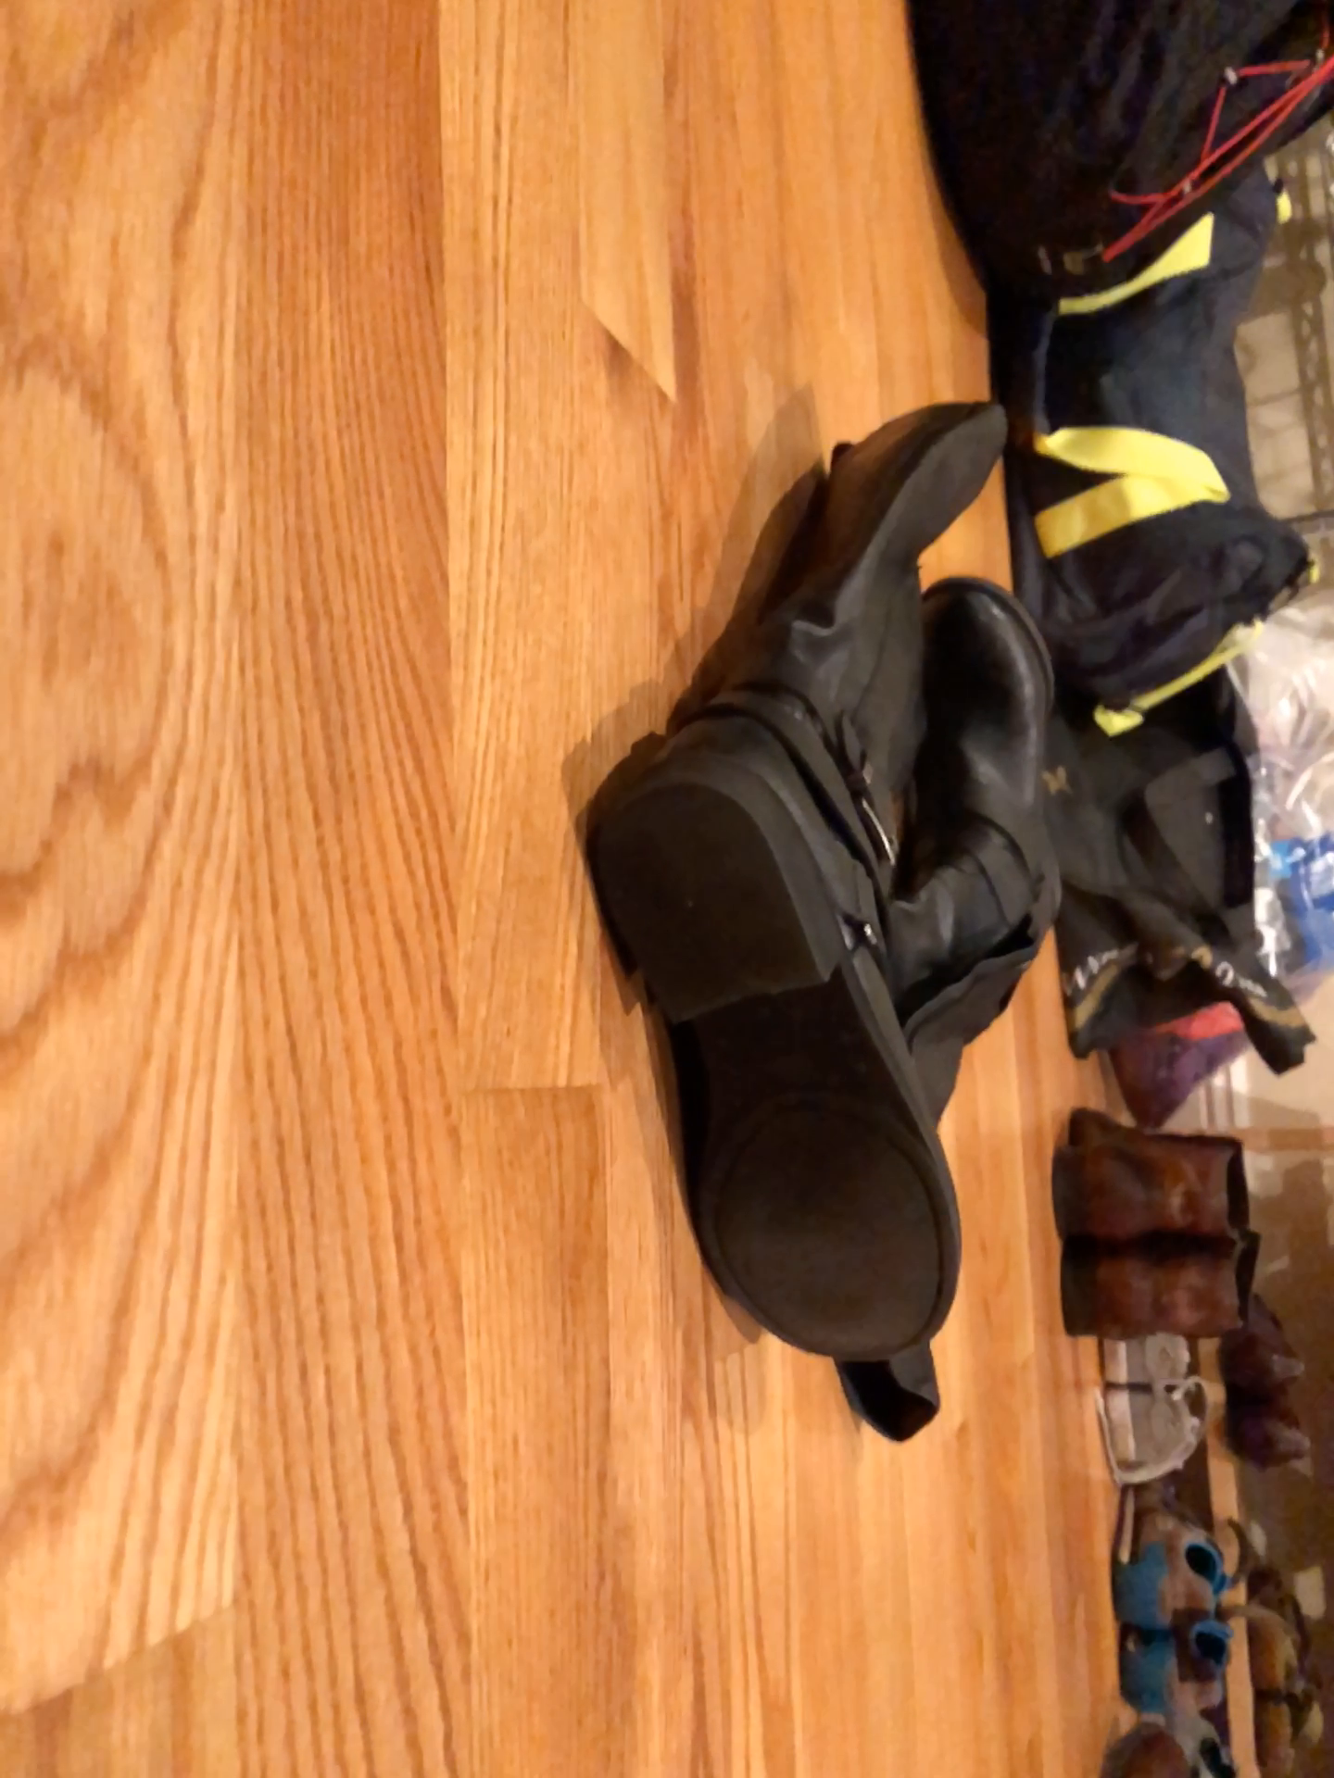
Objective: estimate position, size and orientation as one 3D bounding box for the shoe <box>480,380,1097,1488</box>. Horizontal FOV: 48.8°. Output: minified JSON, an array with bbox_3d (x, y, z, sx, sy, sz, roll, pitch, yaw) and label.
[{"bbox_3d":[0.094,-0.021,0.610,0.405,0.104,0.290,-55,135,-57],"label":"shoe"}]

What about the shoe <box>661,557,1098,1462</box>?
[{"bbox_3d":[0.129,0.021,0.687,0.395,0.094,0.250,-55,135,-59],"label":"shoe"}]
